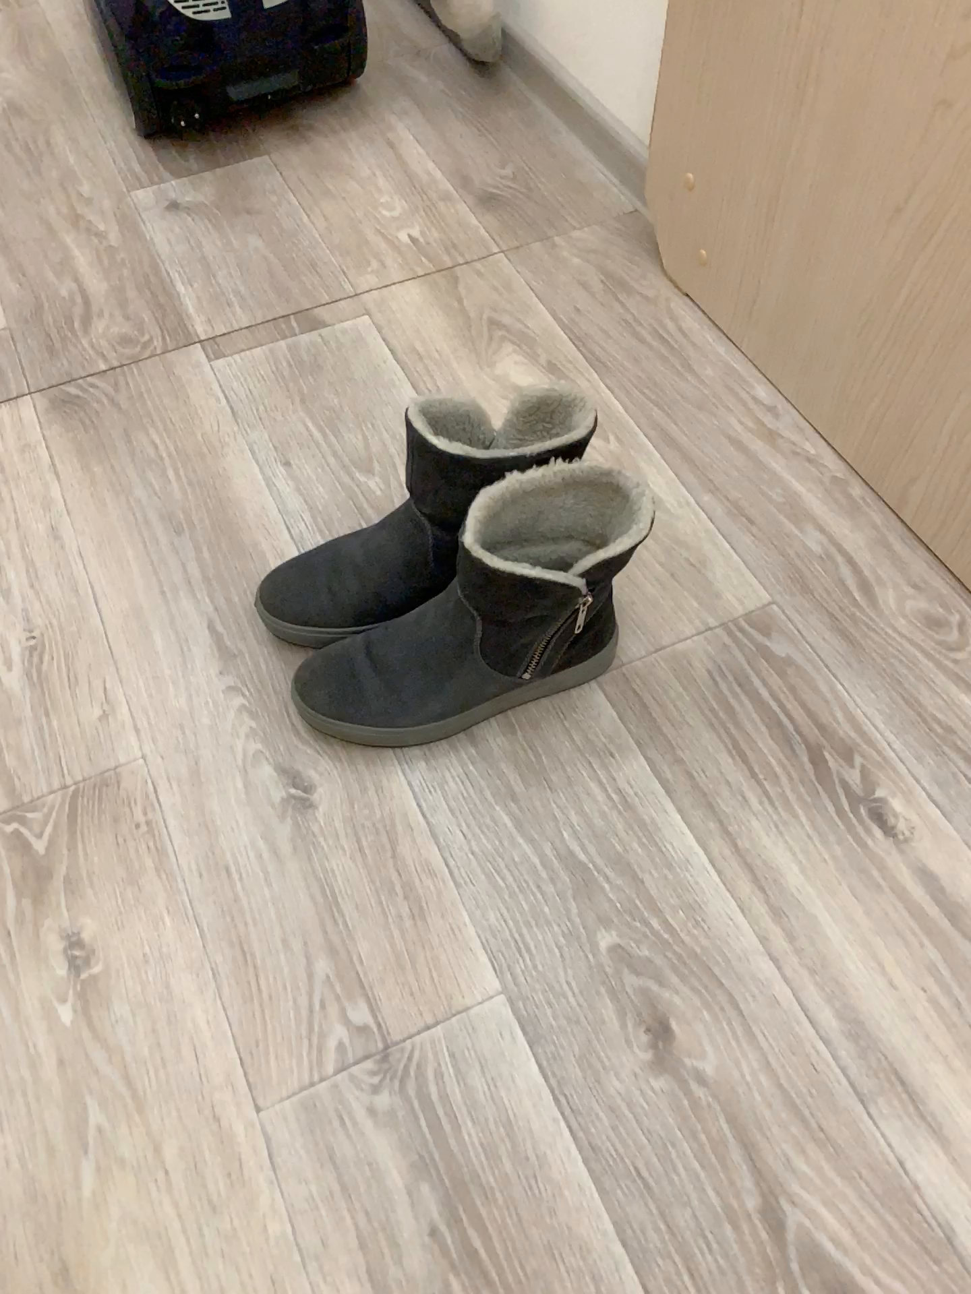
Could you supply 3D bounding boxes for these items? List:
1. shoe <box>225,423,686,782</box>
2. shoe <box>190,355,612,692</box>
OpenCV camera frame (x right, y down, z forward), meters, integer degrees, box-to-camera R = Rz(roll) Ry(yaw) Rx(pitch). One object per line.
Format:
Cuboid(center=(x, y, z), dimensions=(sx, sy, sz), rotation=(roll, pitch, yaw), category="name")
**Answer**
Cuboid(center=(-0.018, -0.027, 0.691), dimensions=(0.270, 0.169, 0.100), rotation=(-16, 58, -10), category="shoe")
Cuboid(center=(-0.058, -0.089, 0.752), dimensions=(0.270, 0.179, 0.100), rotation=(-15, 57, -9), category="shoe")
